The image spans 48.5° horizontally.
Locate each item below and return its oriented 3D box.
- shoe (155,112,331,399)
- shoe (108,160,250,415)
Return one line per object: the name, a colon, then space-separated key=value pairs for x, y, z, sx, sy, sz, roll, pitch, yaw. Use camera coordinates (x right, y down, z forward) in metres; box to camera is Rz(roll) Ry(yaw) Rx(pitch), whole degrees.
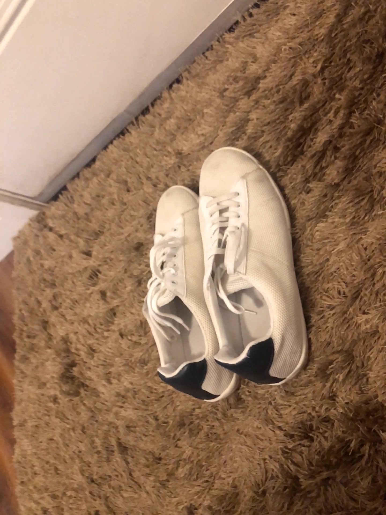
shoe: x=0.040 y=-0.001 z=0.444 sx=0.105 sy=0.079 sz=0.264 roll=-28 pitch=61 yaw=37
shoe: x=-0.025 y=0.034 z=0.500 sx=0.101 sy=0.079 sz=0.264 roll=-29 pitch=61 yaw=37
